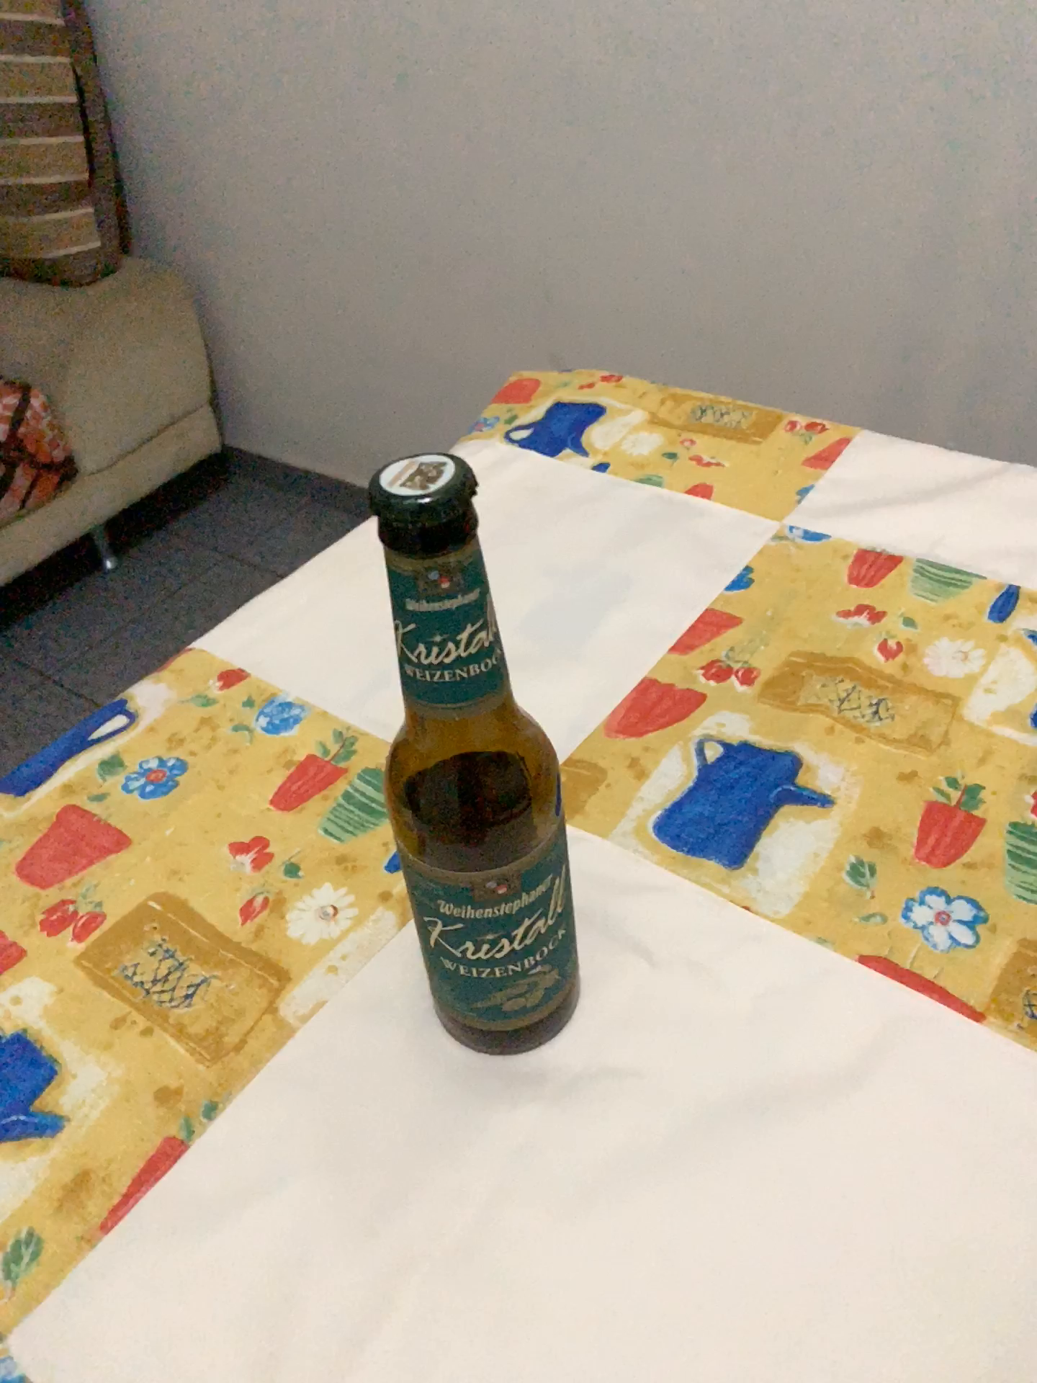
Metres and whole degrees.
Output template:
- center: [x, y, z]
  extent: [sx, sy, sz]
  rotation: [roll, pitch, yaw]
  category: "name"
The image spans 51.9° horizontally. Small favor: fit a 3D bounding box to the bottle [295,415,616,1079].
- center: [-0.013, 0.033, 0.350]
  extent: [0.070, 0.229, 0.060]
  rotation: [-10, 40, -3]
  category: "bottle"
